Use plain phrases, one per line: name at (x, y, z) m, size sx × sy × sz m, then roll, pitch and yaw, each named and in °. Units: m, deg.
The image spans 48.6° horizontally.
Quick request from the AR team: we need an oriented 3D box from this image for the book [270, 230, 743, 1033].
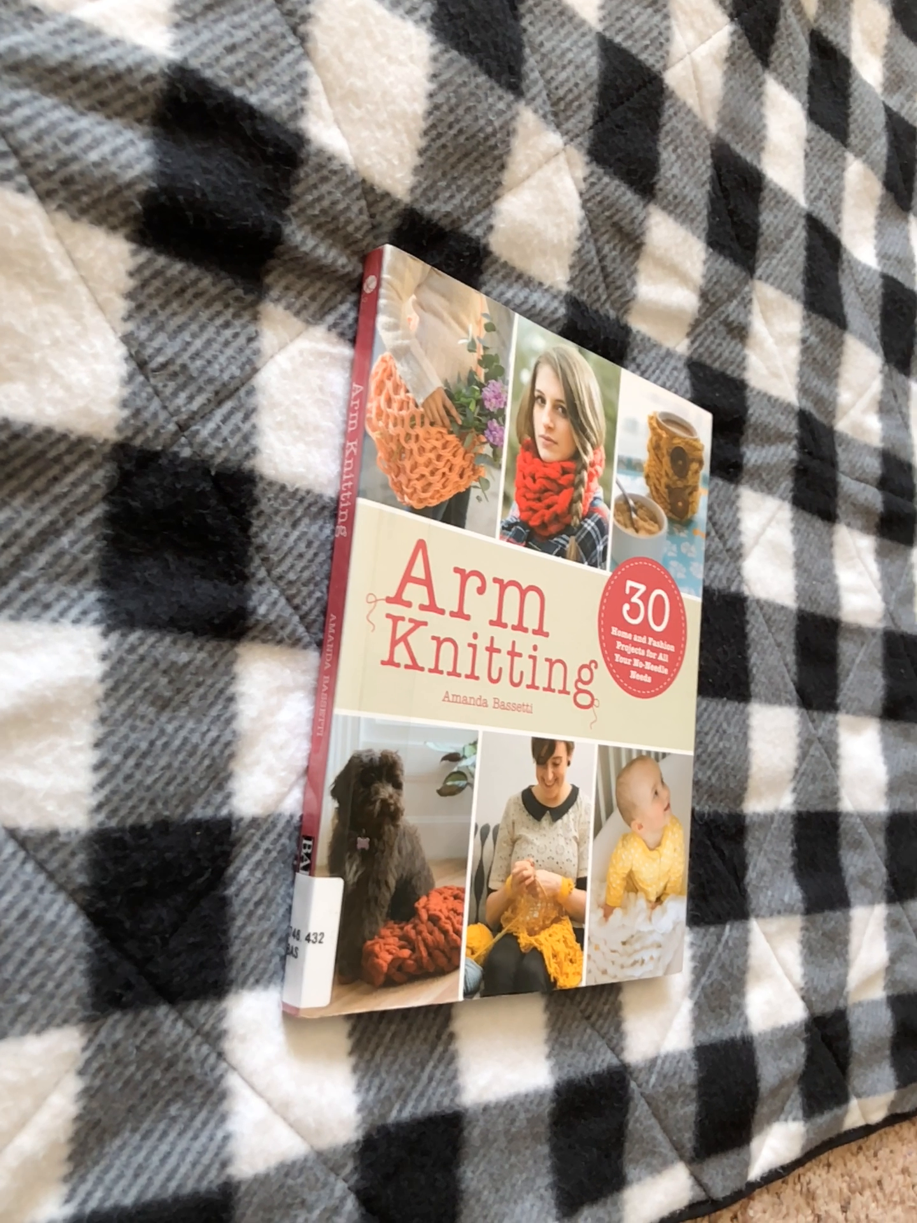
book at (0.035, 0.016, 0.370) m, size 0.197 × 0.020 × 0.238 m, roll 13°, pitch 79°, yaw -41°
